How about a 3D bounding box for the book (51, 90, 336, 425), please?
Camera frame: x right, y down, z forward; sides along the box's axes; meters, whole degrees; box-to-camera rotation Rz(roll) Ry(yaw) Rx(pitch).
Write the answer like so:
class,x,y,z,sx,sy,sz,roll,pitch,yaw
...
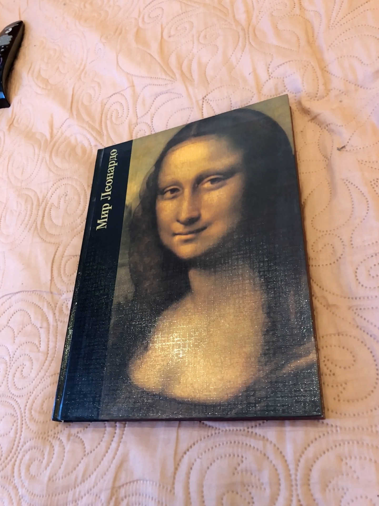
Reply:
class,x,y,z,sx,sy,sz,roll,pitch,yaw
book,-0.004,-0.001,0.363,0.210,0.030,0.273,-10,62,20
